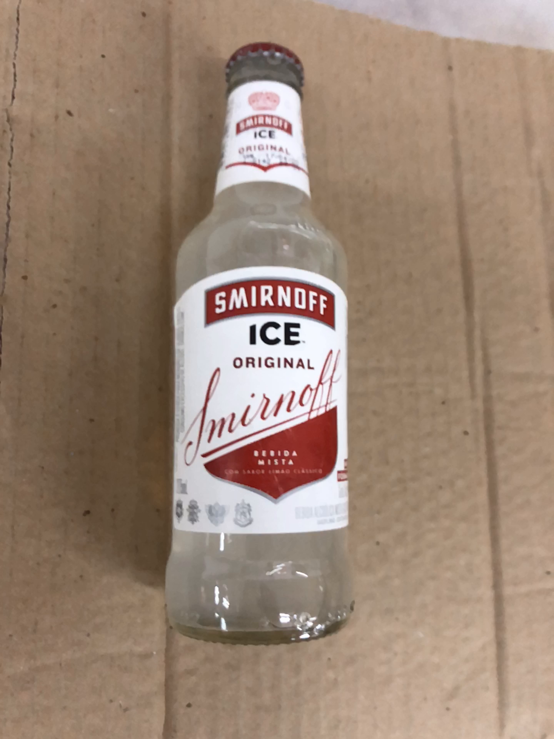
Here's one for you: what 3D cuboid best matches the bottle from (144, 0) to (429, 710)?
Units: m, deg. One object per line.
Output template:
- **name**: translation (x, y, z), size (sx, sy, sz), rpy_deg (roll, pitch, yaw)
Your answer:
- **bottle**: translation (0.000, -0.019, 0.198), size (0.070, 0.050, 0.210), rpy_deg (3, 81, -21)
